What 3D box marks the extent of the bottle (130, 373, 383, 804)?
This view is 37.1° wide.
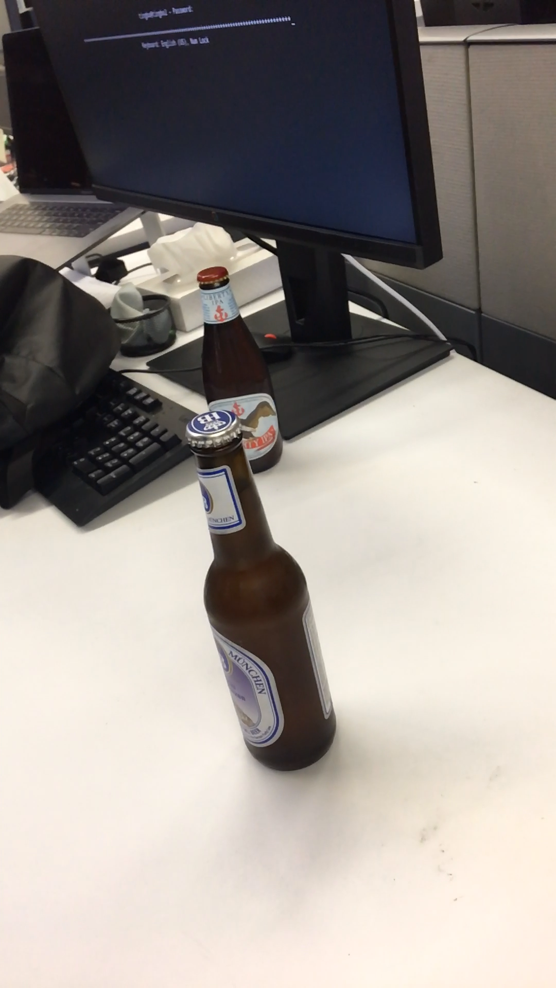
[{"bbox_3d":[-0.007,0.060,0.475,0.080,0.230,0.080,-9,32,6],"label":"bottle"}]
